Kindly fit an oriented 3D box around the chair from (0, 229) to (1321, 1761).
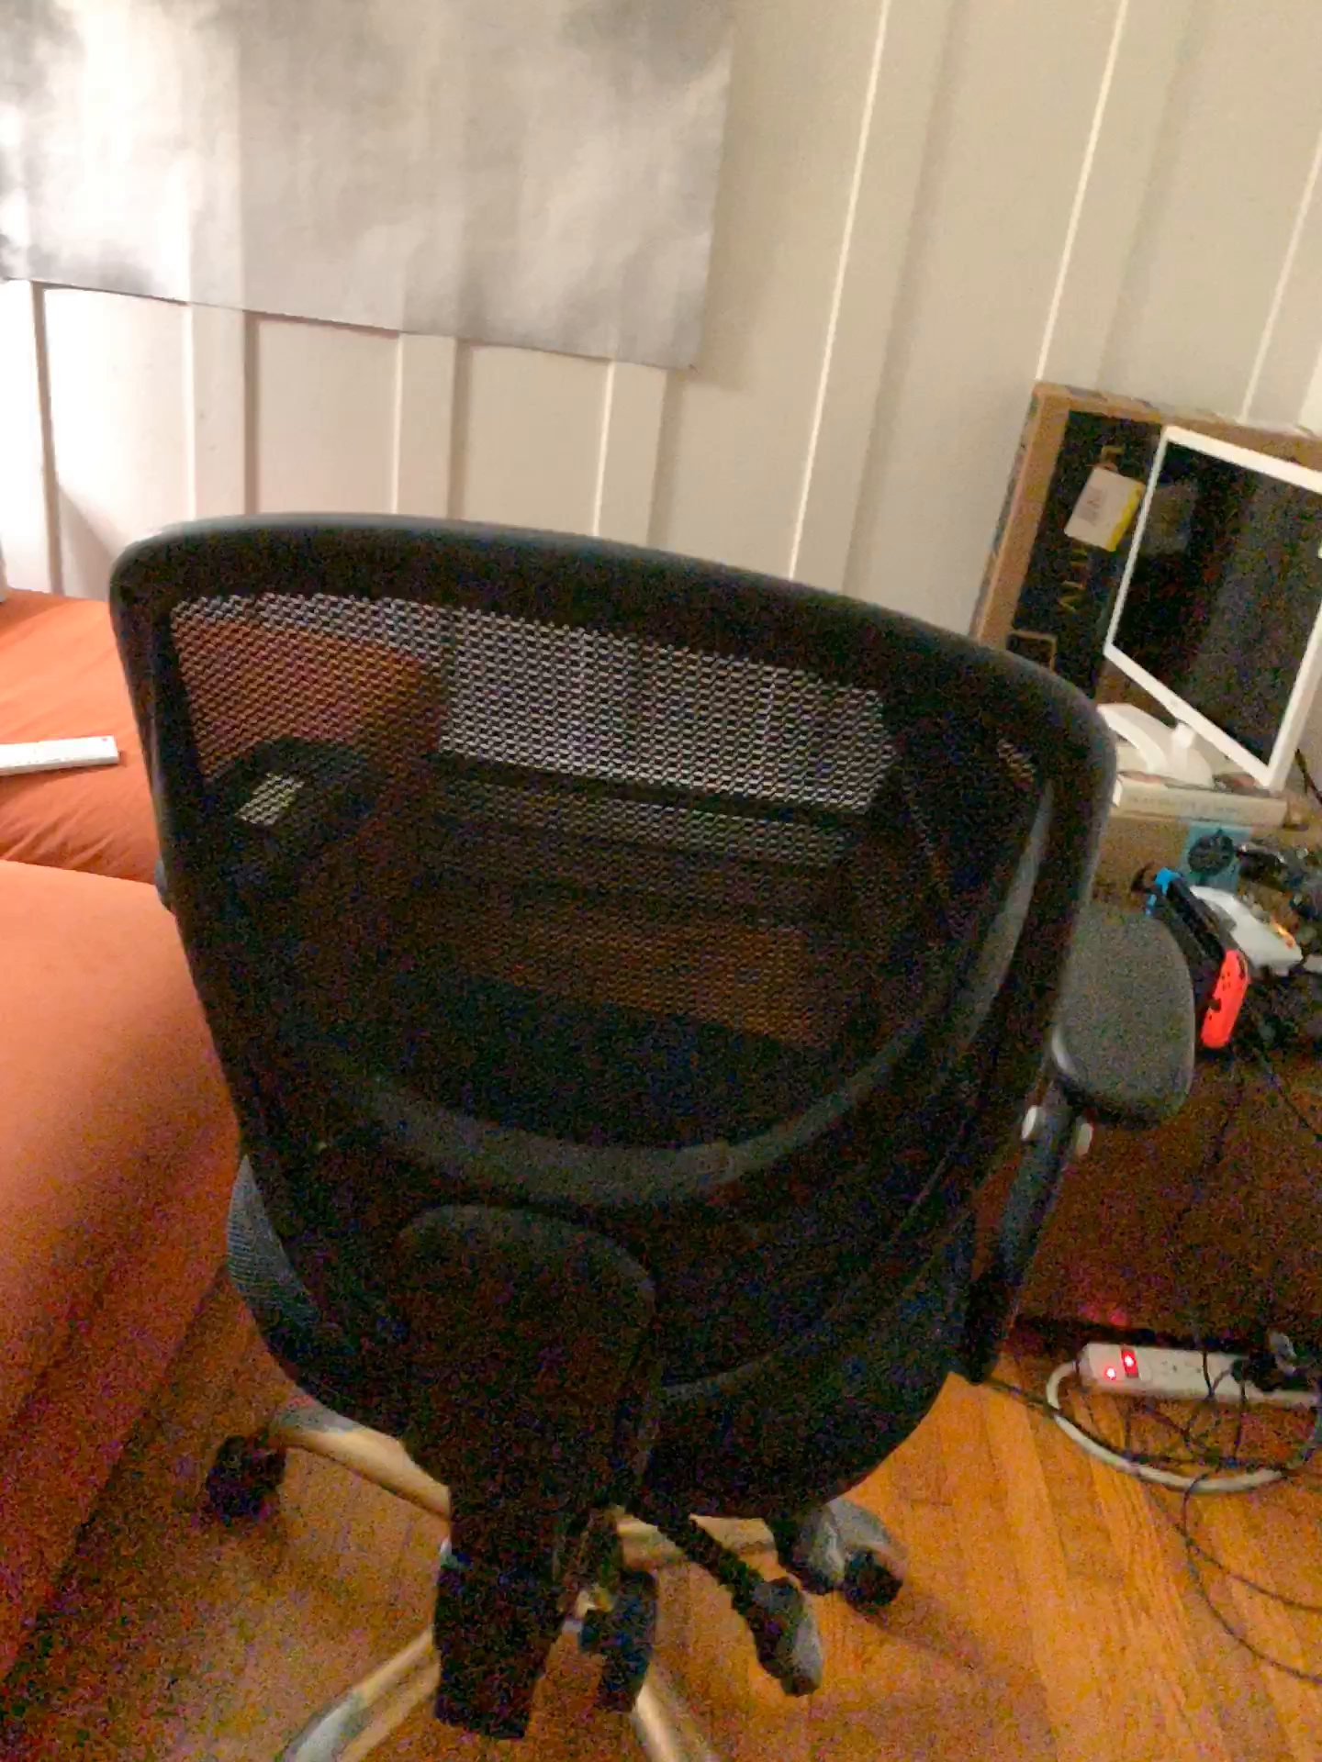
[{"bbox_3d":[-0.041,0.163,0.901,0.640,0.974,0.664,12,30,9],"label":"chair"}]
